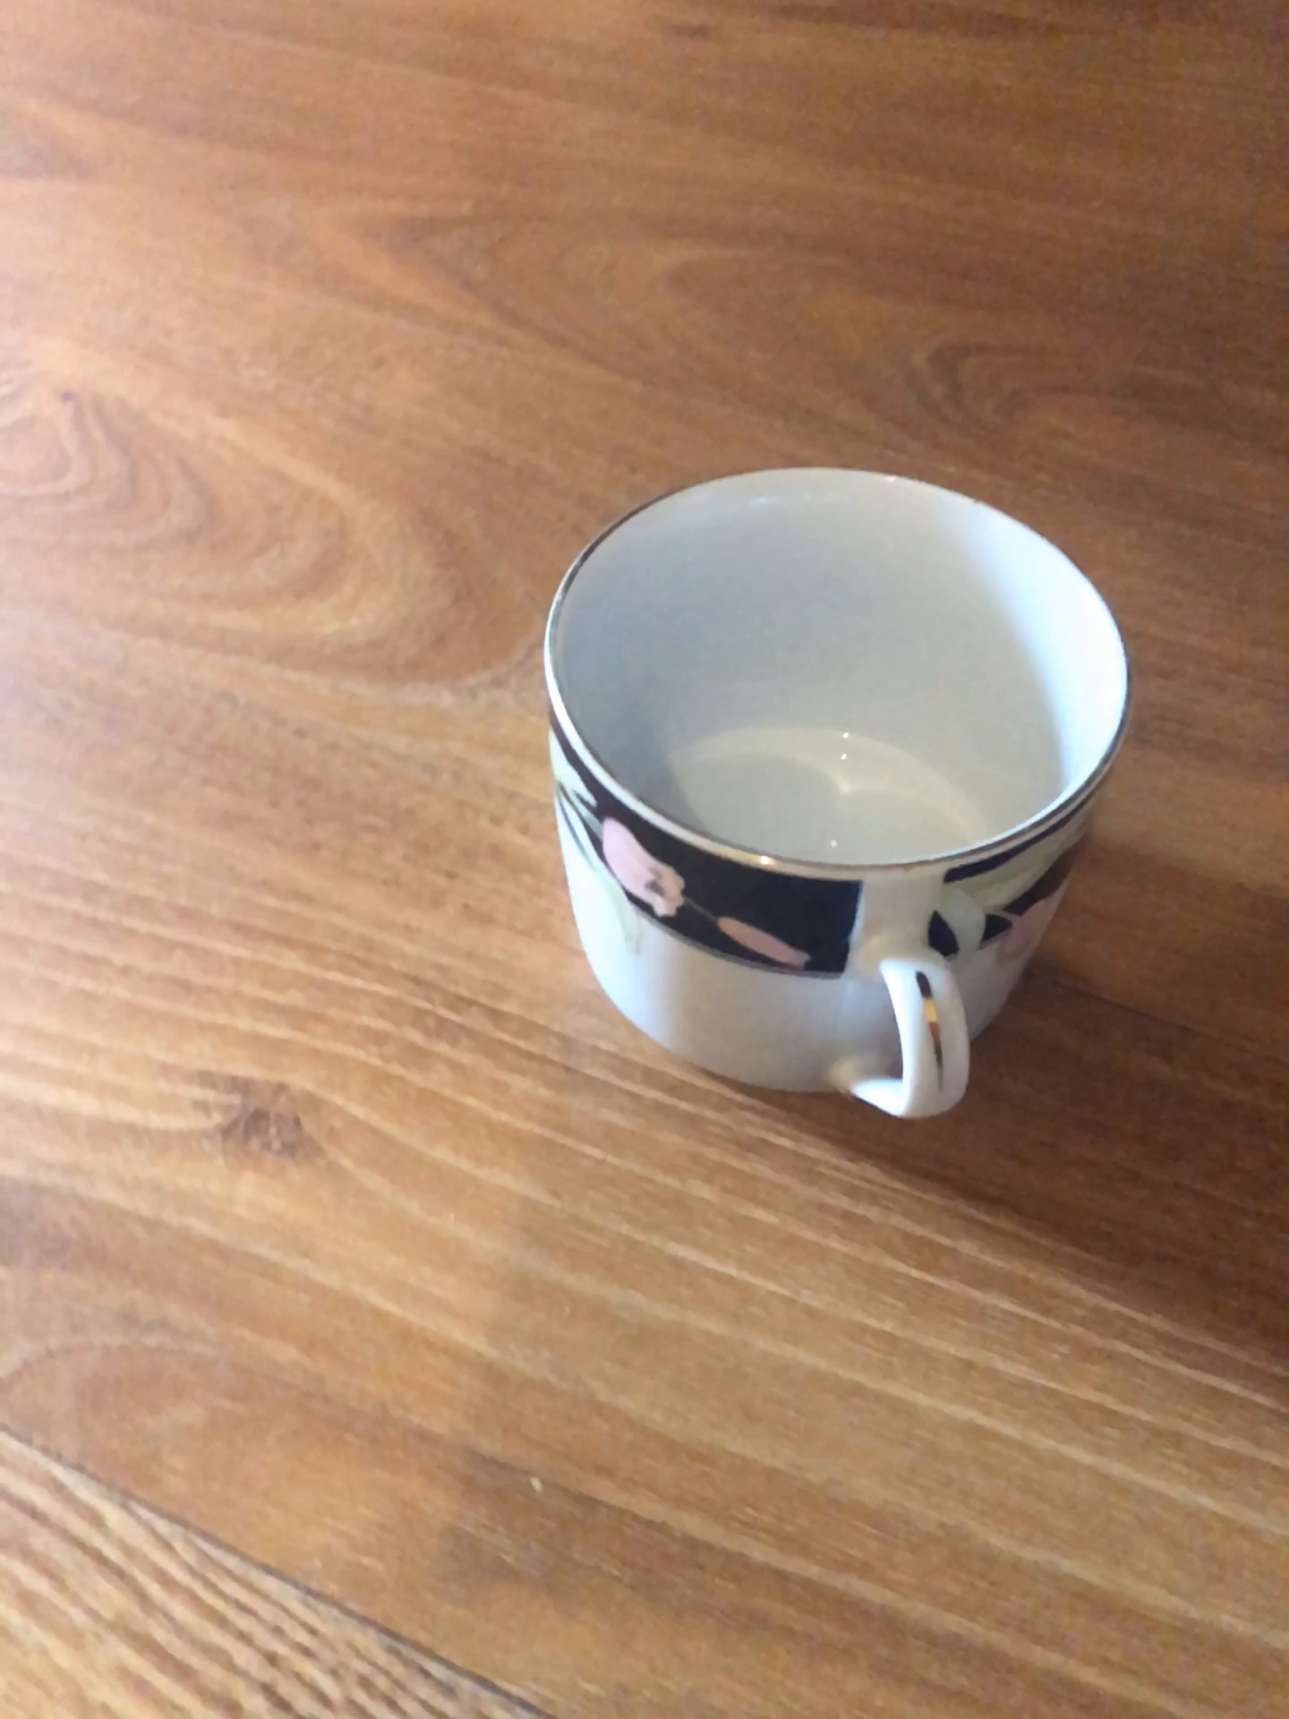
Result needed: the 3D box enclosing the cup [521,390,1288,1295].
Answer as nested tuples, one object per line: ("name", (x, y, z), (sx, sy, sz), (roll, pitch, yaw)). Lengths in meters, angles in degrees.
("cup", (0.034, -0.007, 0.210), (0.090, 0.060, 0.111), (-7, 52, -5))
